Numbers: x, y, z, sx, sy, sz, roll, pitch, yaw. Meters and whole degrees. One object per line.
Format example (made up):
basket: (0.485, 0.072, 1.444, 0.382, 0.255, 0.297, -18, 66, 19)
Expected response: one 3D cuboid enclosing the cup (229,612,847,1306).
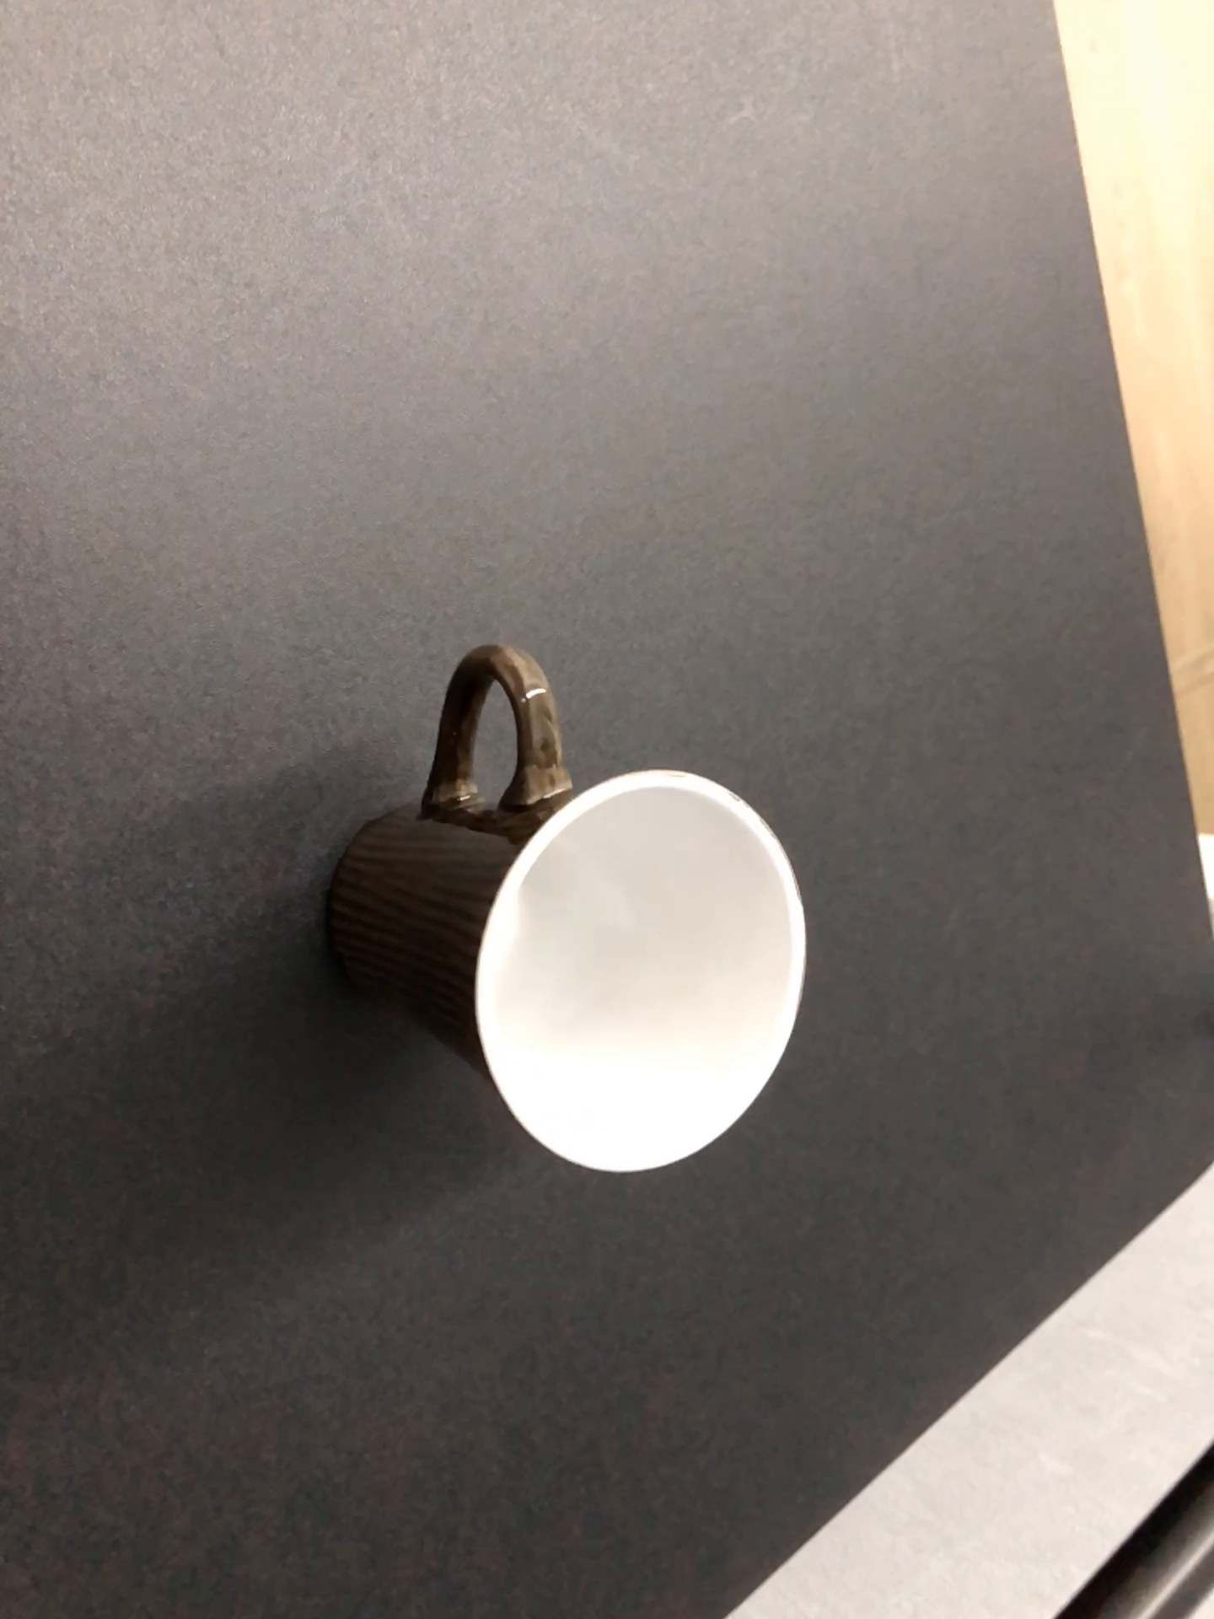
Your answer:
cup: (-0.012, 0.017, 0.230, 0.066, 0.069, 0.089, -16, 103, -32)
